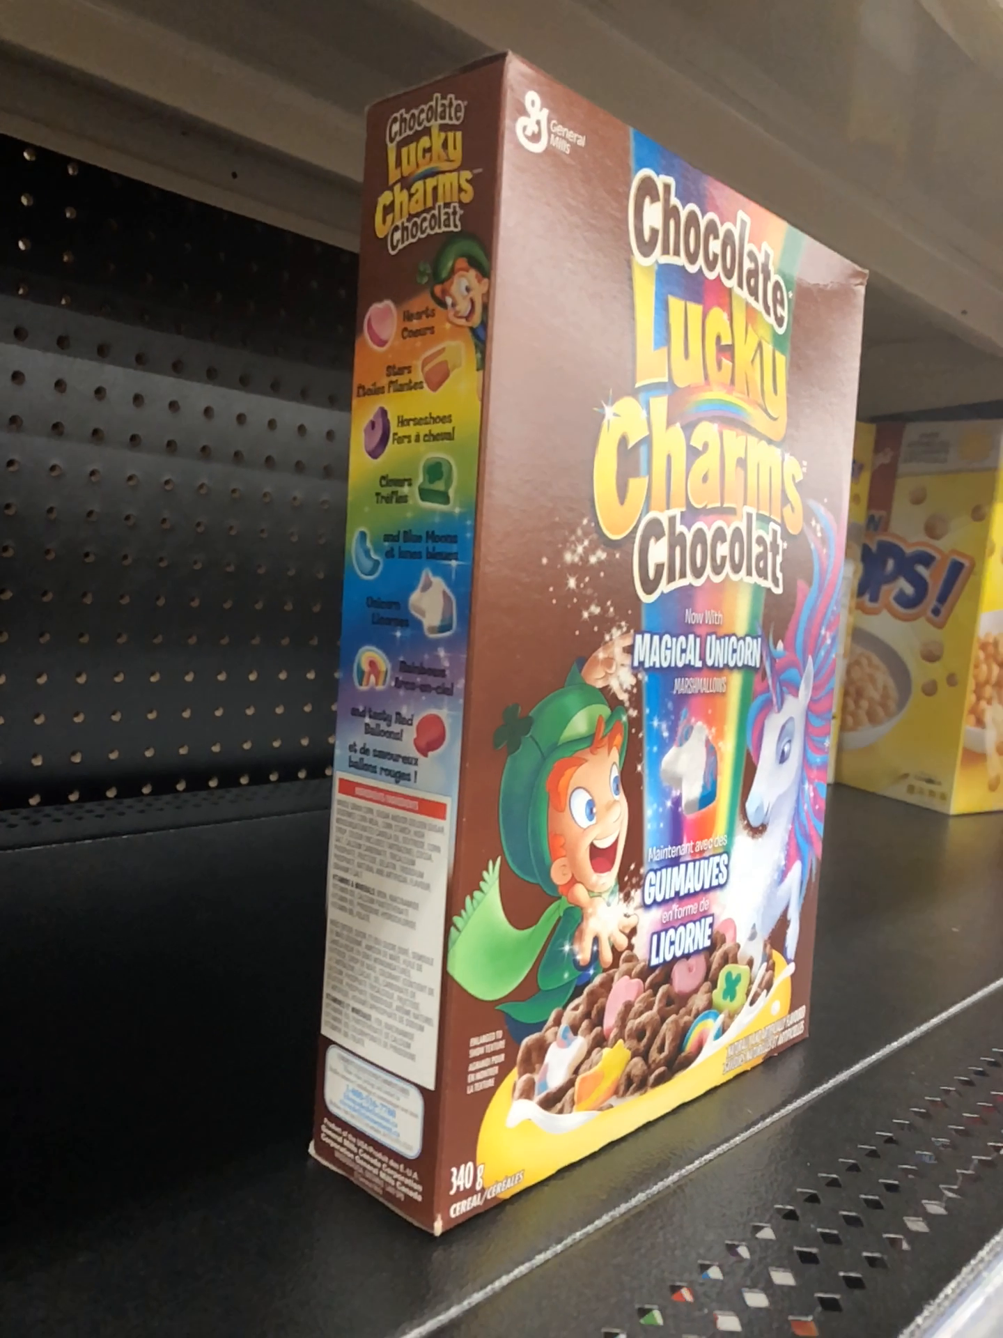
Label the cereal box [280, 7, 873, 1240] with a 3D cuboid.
[{"bbox_3d":[0.037,-0.010,0.353,0.060,0.290,0.200,5,3,43],"label":"cereal box"}]
